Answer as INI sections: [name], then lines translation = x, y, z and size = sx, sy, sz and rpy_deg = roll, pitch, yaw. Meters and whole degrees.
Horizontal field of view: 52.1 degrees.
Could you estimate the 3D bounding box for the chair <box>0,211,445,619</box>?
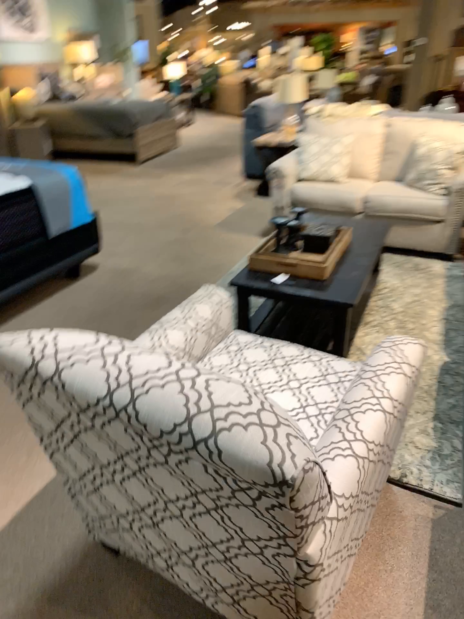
[chair]
translation = 0.000, 0.310, 1.402
size = 0.875, 0.847, 0.968
rpy_deg = 15, 32, 27
